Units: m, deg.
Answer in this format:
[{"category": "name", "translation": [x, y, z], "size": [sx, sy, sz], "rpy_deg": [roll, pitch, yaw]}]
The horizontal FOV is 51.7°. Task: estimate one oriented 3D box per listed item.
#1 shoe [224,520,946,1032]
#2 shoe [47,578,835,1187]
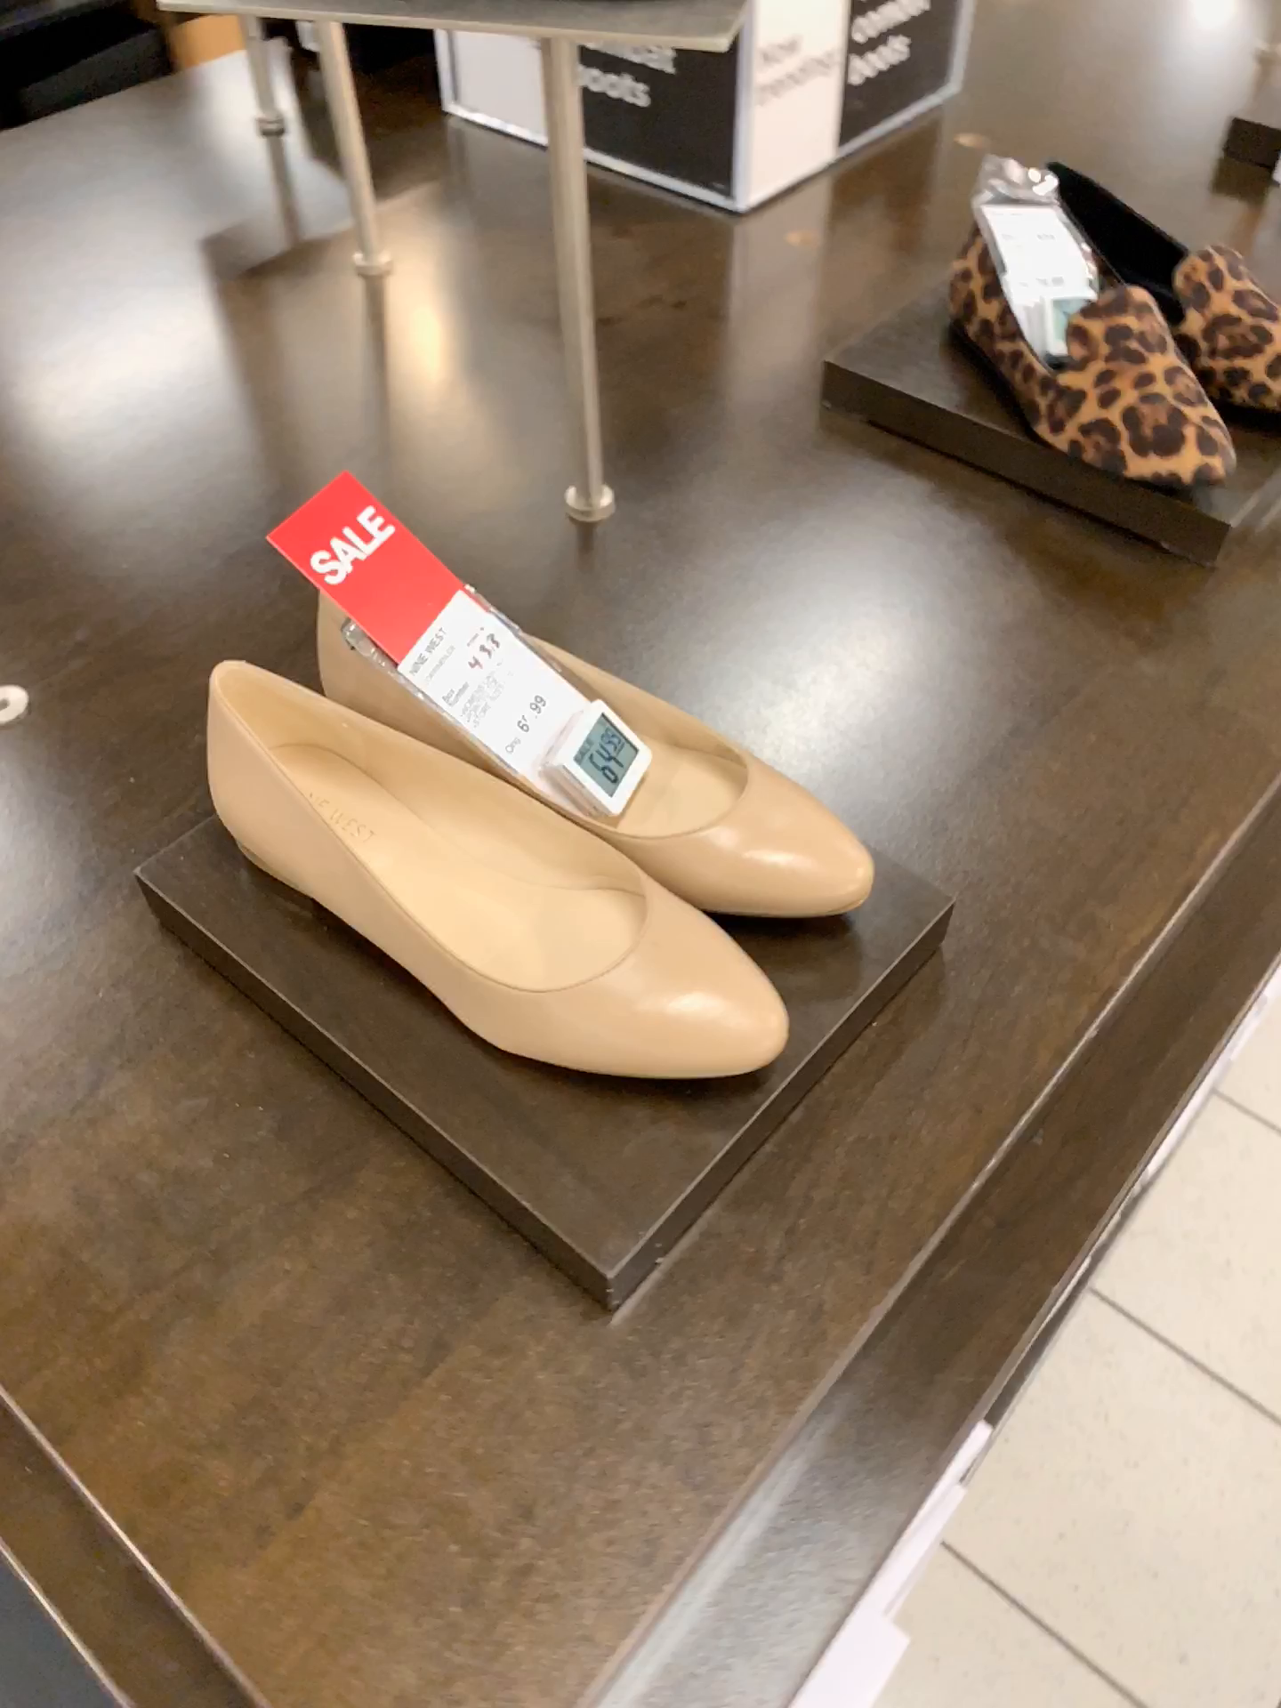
[{"category": "shoe", "translation": [-0.024, -0.037, 0.511], "size": [0.250, 0.080, 0.090], "rpy_deg": [22, 53, 18]}, {"category": "shoe", "translation": [-0.070, 0.001, 0.459], "size": [0.250, 0.080, 0.090], "rpy_deg": [25, 54, 20]}]
